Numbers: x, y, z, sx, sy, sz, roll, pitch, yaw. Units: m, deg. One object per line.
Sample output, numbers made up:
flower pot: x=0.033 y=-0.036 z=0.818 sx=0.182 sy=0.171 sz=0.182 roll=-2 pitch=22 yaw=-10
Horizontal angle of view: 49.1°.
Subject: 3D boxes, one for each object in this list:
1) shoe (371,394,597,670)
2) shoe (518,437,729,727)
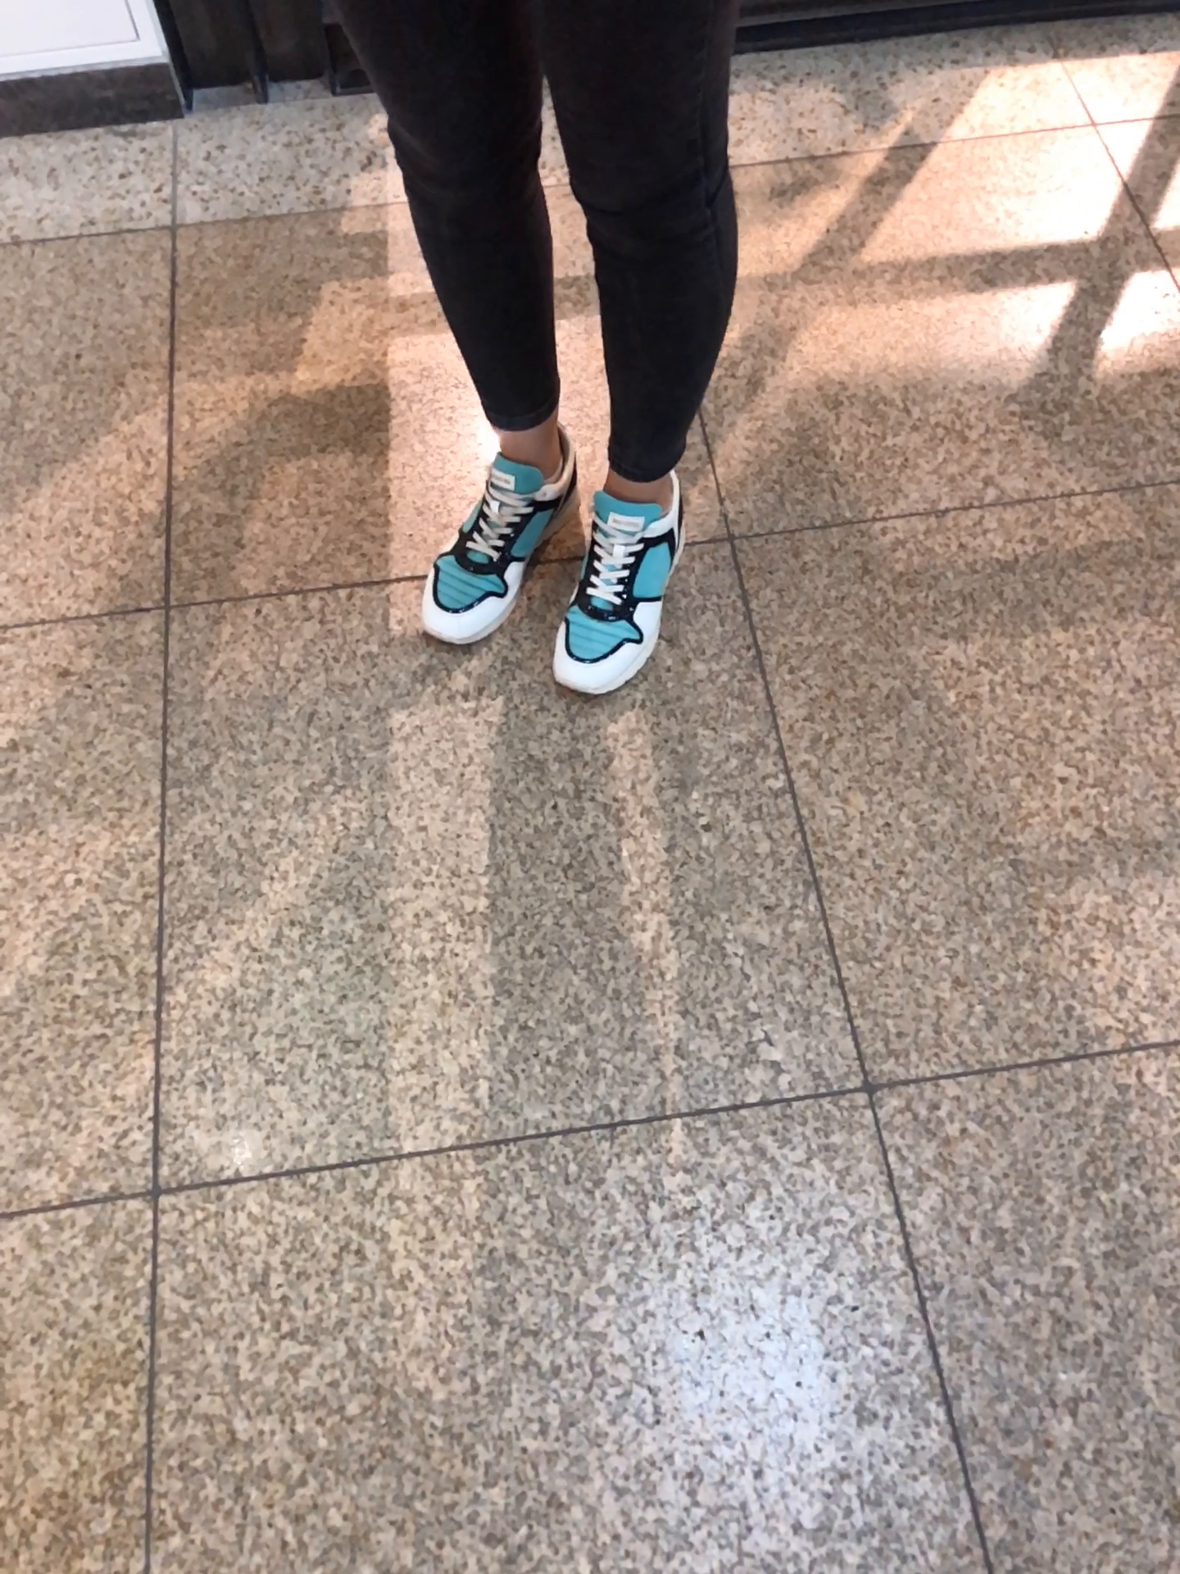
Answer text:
shoe: x=-0.097 y=-0.252 z=1.263 sx=0.107 sy=0.100 sz=0.240 roll=23 pitch=64 yaw=14
shoe: x=0.036 y=-0.200 z=1.244 sx=0.110 sy=0.100 sz=0.250 roll=20 pitch=63 yaw=12
